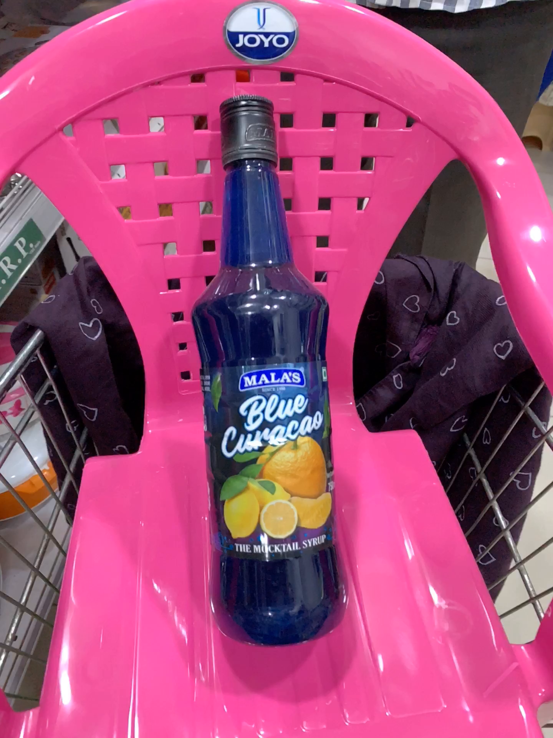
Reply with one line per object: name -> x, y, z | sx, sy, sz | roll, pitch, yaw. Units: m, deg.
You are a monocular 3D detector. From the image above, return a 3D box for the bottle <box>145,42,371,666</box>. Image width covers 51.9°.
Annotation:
bottle -> -0.011, -0.007, 0.290 | 0.080, 0.270, 0.080 | -4, 5, 0
